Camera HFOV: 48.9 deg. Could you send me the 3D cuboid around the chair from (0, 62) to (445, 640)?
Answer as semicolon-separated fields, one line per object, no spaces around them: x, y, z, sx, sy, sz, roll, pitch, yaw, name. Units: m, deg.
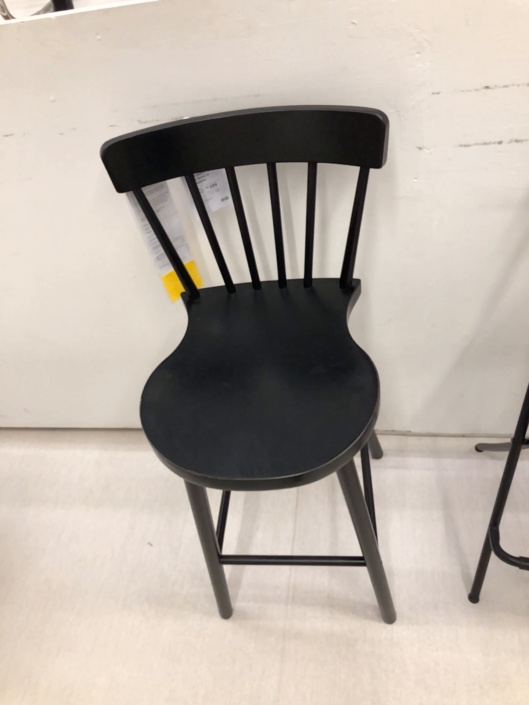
0.004;0.094;0.981;0.460;0.874;0.483;-3;49;10;chair
